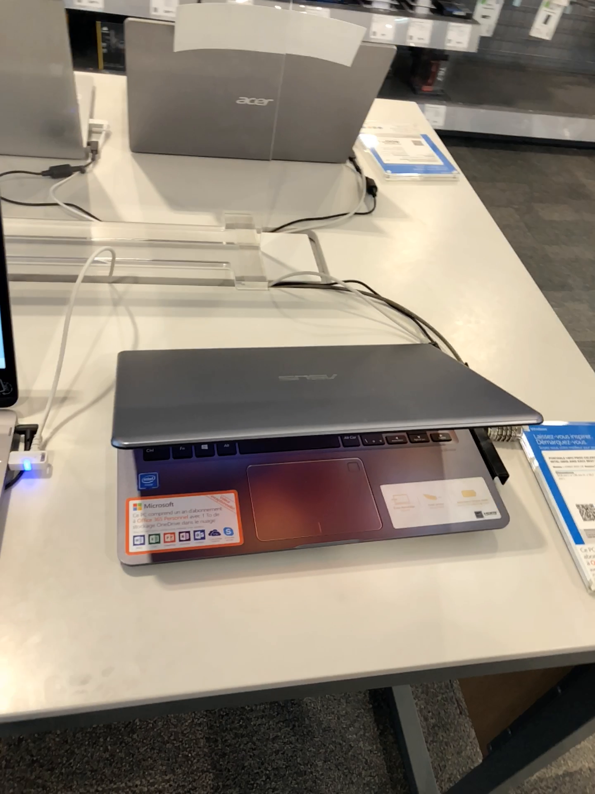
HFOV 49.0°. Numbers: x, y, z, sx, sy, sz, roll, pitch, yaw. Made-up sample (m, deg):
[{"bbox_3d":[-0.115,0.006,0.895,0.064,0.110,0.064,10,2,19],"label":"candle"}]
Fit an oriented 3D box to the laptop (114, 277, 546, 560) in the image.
[{"bbox_3d":[0.008,0.004,0.539,0.300,0.099,0.201,-2,47,-15],"label":"laptop"}]
